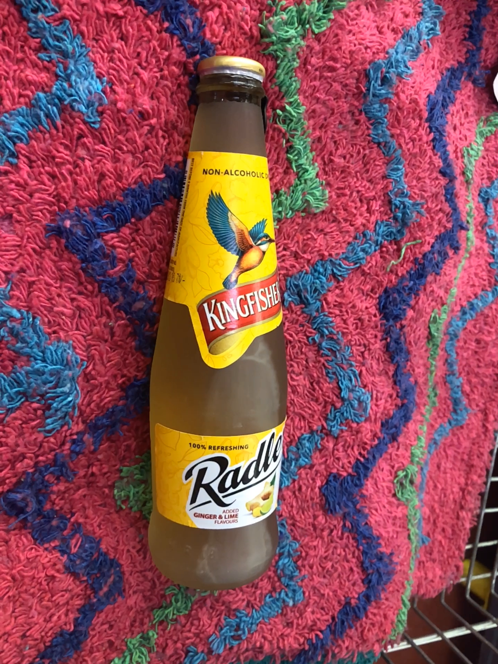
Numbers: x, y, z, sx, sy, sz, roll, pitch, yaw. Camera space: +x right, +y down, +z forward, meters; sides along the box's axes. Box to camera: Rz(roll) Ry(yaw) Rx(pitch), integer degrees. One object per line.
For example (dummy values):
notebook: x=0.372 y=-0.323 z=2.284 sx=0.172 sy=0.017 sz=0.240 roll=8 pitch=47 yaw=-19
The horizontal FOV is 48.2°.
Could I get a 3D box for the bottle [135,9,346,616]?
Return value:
bottle: x=-0.008 y=-0.003 z=0.230 sx=0.060 sy=0.060 sz=0.210 roll=-4 pitch=101 yaw=-26
